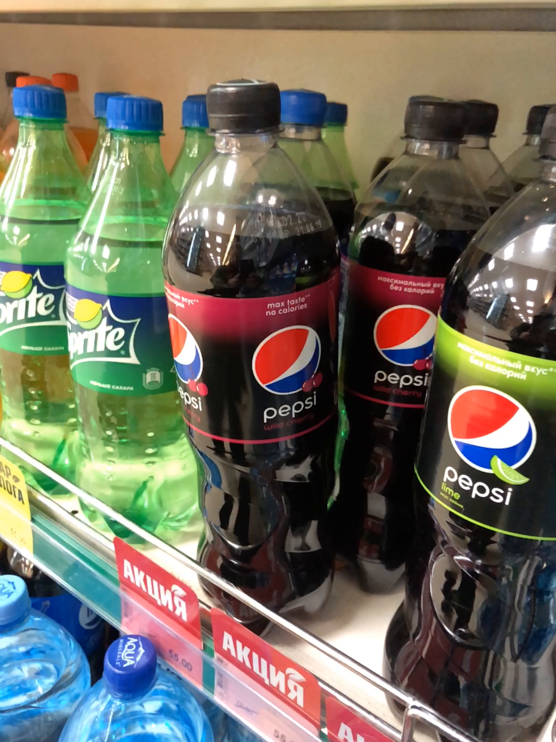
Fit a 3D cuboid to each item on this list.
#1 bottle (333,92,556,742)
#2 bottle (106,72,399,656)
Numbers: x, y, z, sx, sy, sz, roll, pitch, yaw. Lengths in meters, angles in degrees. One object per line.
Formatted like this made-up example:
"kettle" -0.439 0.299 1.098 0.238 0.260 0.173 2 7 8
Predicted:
"bottle" 0.092 0.036 0.248 0.077 0.263 0.086 -17 32 -37
"bottle" -0.011 0.001 0.297 0.077 0.256 0.086 -21 35 -34
